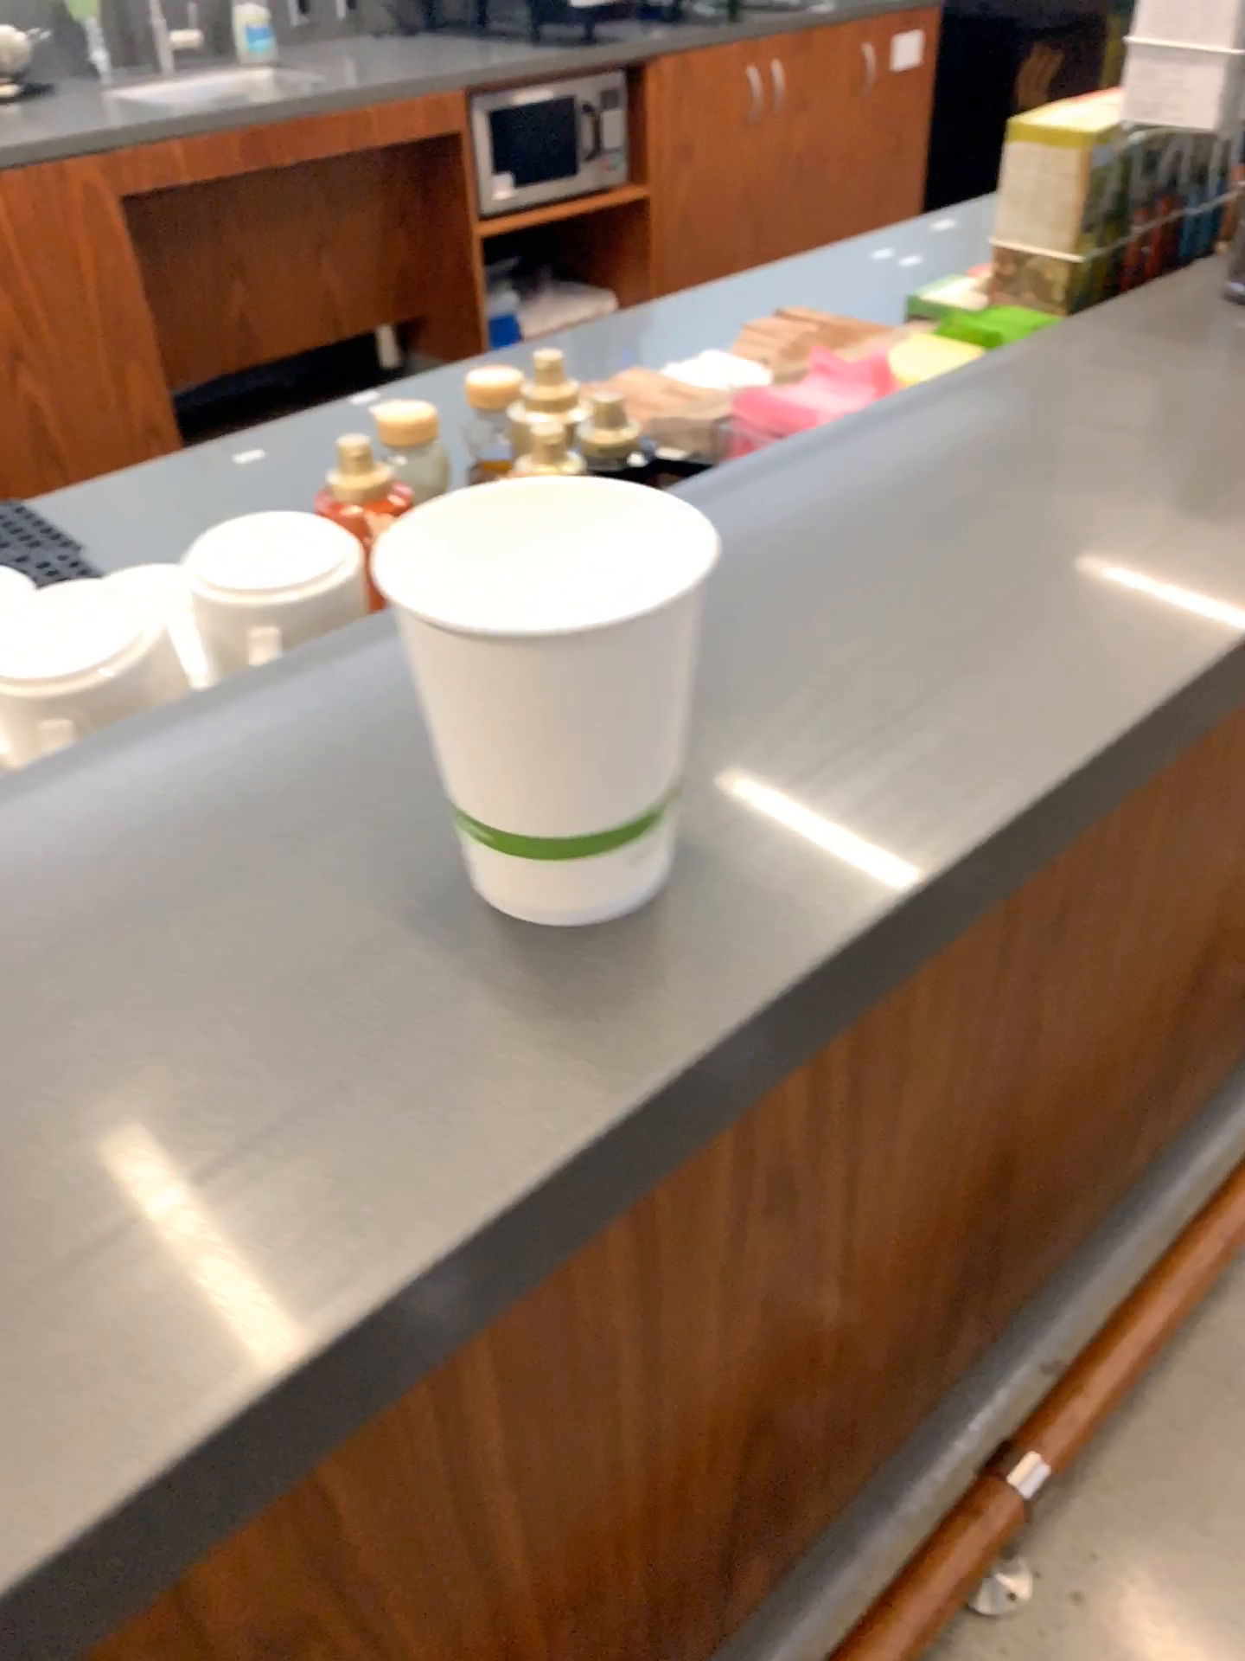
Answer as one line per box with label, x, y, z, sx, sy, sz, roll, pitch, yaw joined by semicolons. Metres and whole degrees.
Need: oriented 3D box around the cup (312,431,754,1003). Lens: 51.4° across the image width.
cup;-0.020;-0.034;0.364;0.080;0.119;0.080;-1;38;1
